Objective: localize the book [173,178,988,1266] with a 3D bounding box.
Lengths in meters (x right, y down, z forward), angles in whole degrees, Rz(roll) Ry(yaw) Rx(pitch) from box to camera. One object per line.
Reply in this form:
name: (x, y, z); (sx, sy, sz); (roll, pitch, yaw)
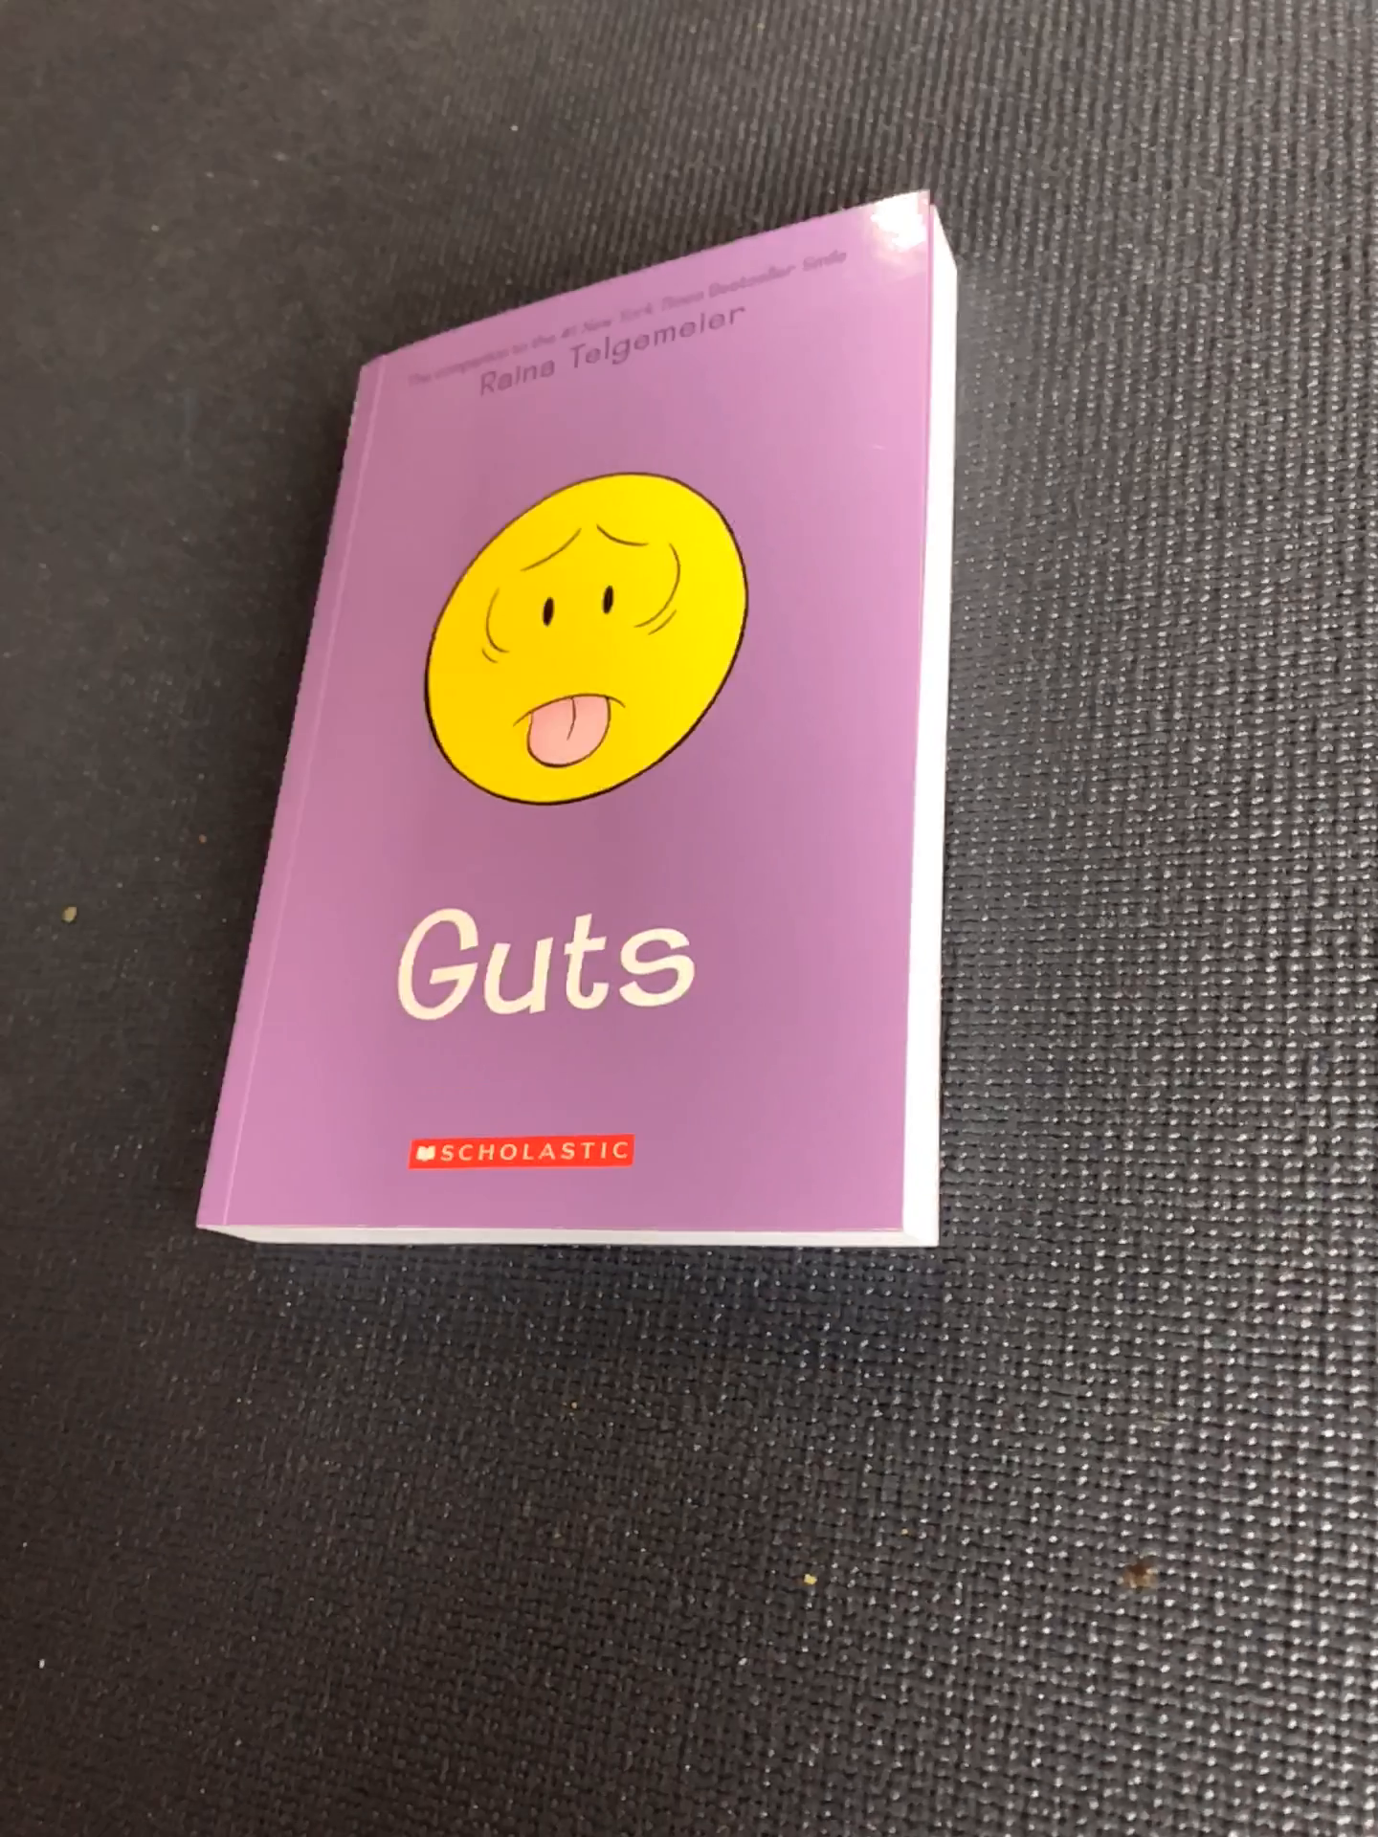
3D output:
book: (-0.017, -0.038, 0.299); (0.143, 0.024, 0.202); (-5, 66, 26)
